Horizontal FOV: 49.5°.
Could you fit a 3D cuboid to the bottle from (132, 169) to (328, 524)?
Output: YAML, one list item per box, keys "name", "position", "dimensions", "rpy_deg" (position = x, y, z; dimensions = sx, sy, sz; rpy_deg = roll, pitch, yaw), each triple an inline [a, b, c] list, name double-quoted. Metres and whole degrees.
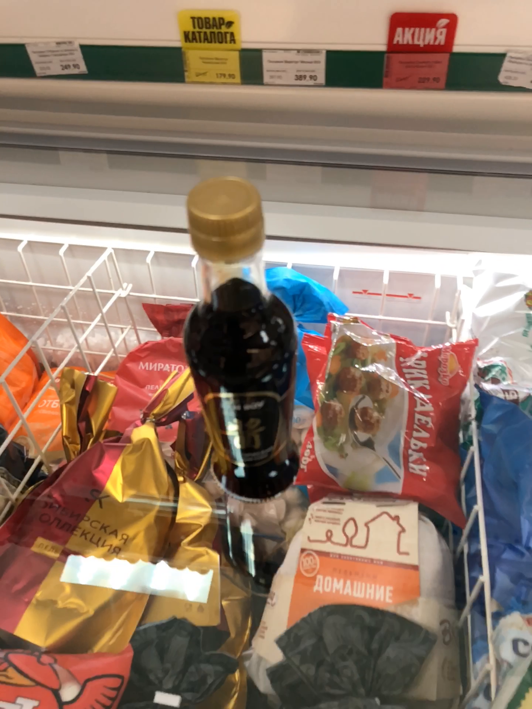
- name: "bottle"
  position: [-0.011, 0.007, 0.293]
  dimensions: [0.070, 0.179, 0.070]
  rpy_deg: [-1, 43, 1]
